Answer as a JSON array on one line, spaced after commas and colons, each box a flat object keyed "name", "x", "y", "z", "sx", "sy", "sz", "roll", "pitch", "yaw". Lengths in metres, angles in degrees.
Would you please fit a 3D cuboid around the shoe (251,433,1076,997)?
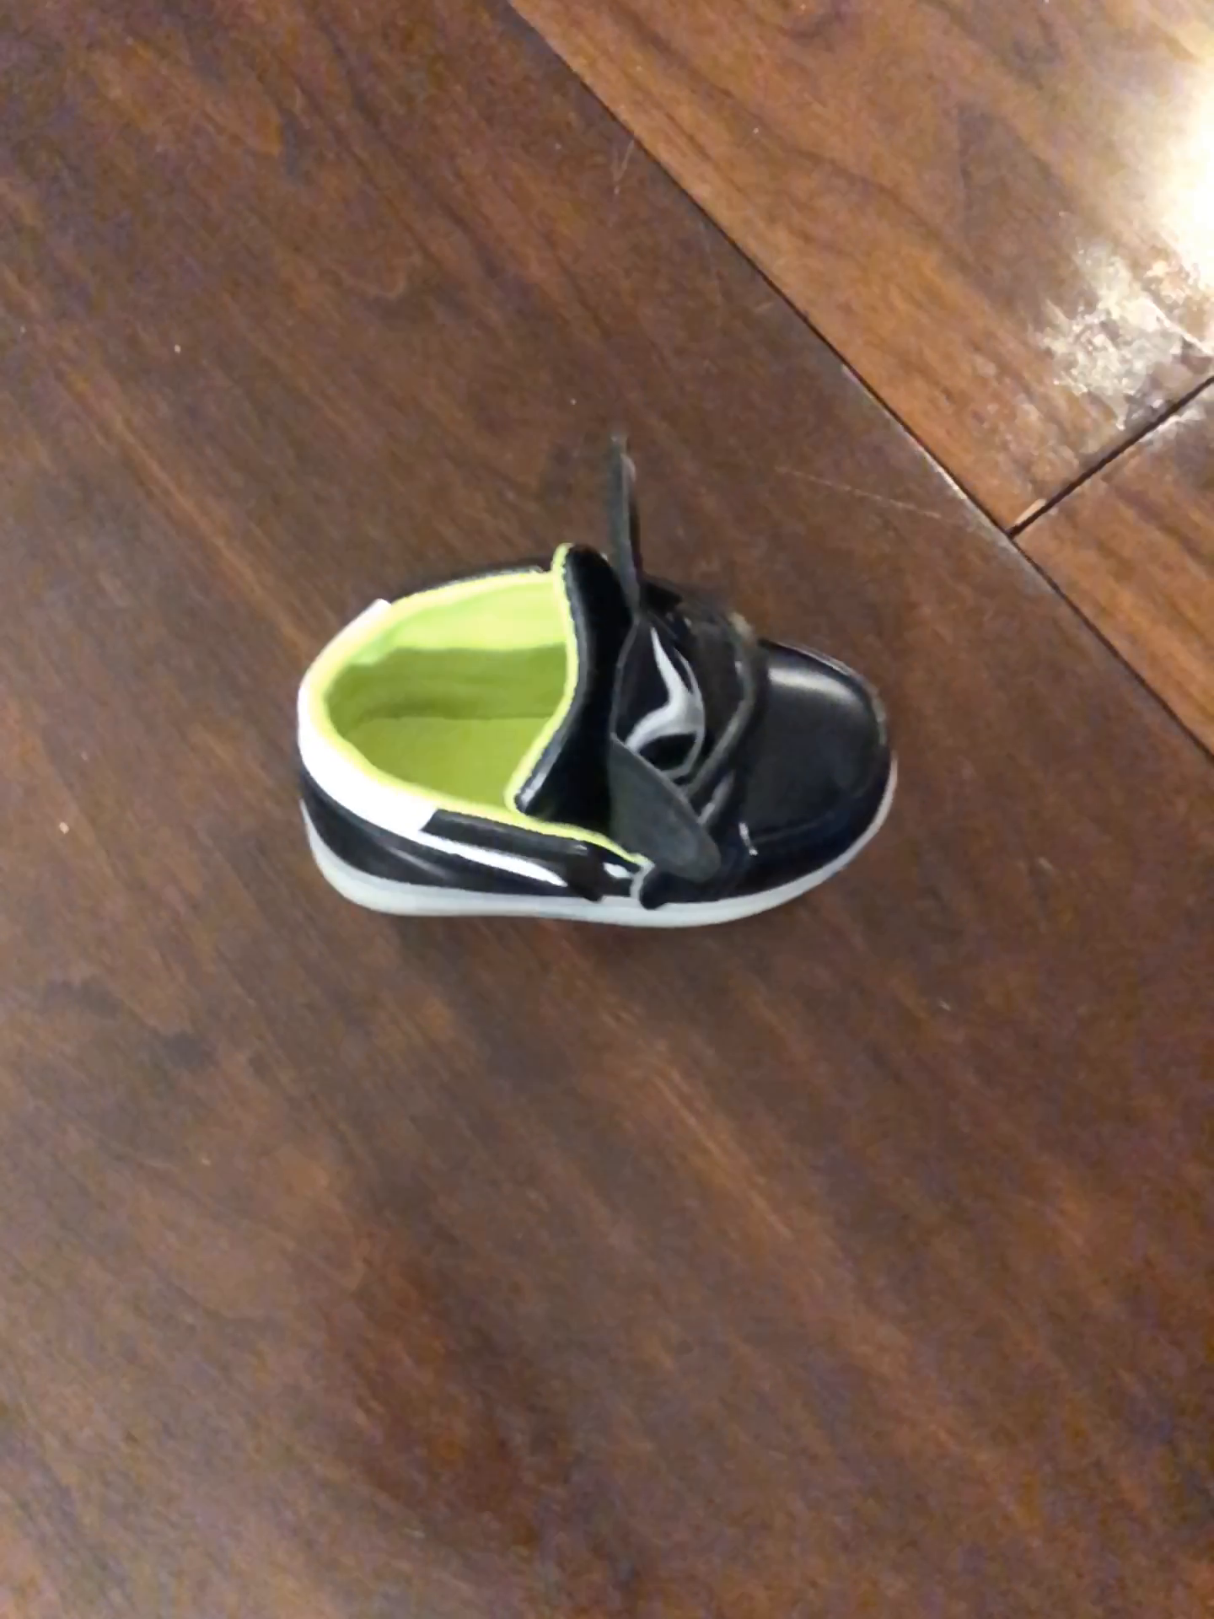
[{"name": "shoe", "x": 0.005, "y": -0.016, "z": 0.305, "sx": 0.150, "sy": 0.100, "sz": 0.090, "roll": -3, "pitch": 74, "yaw": -7}]
